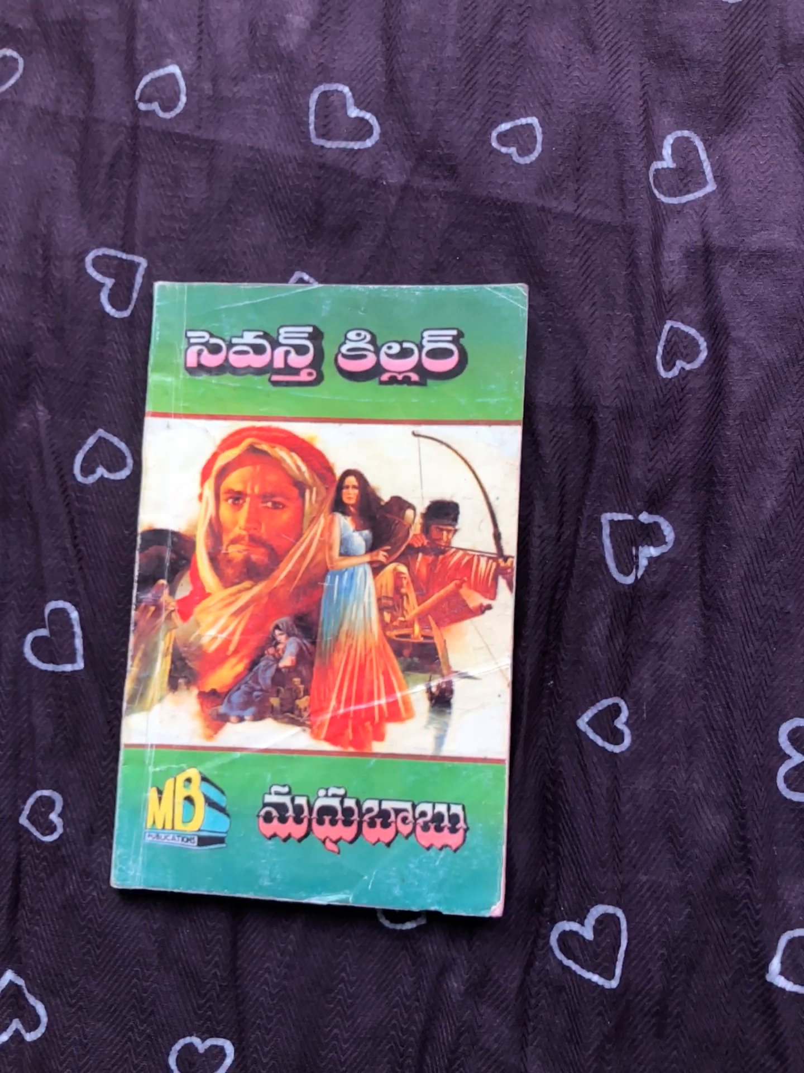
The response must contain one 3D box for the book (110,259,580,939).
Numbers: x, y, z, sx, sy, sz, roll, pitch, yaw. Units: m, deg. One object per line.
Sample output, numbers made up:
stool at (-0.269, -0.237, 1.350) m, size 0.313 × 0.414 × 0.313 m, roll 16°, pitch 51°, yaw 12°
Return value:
book at (-0.012, 0.012, 0.210) m, size 0.100 × 0.010 × 0.150 m, roll 3°, pitch 86°, yaw 4°
